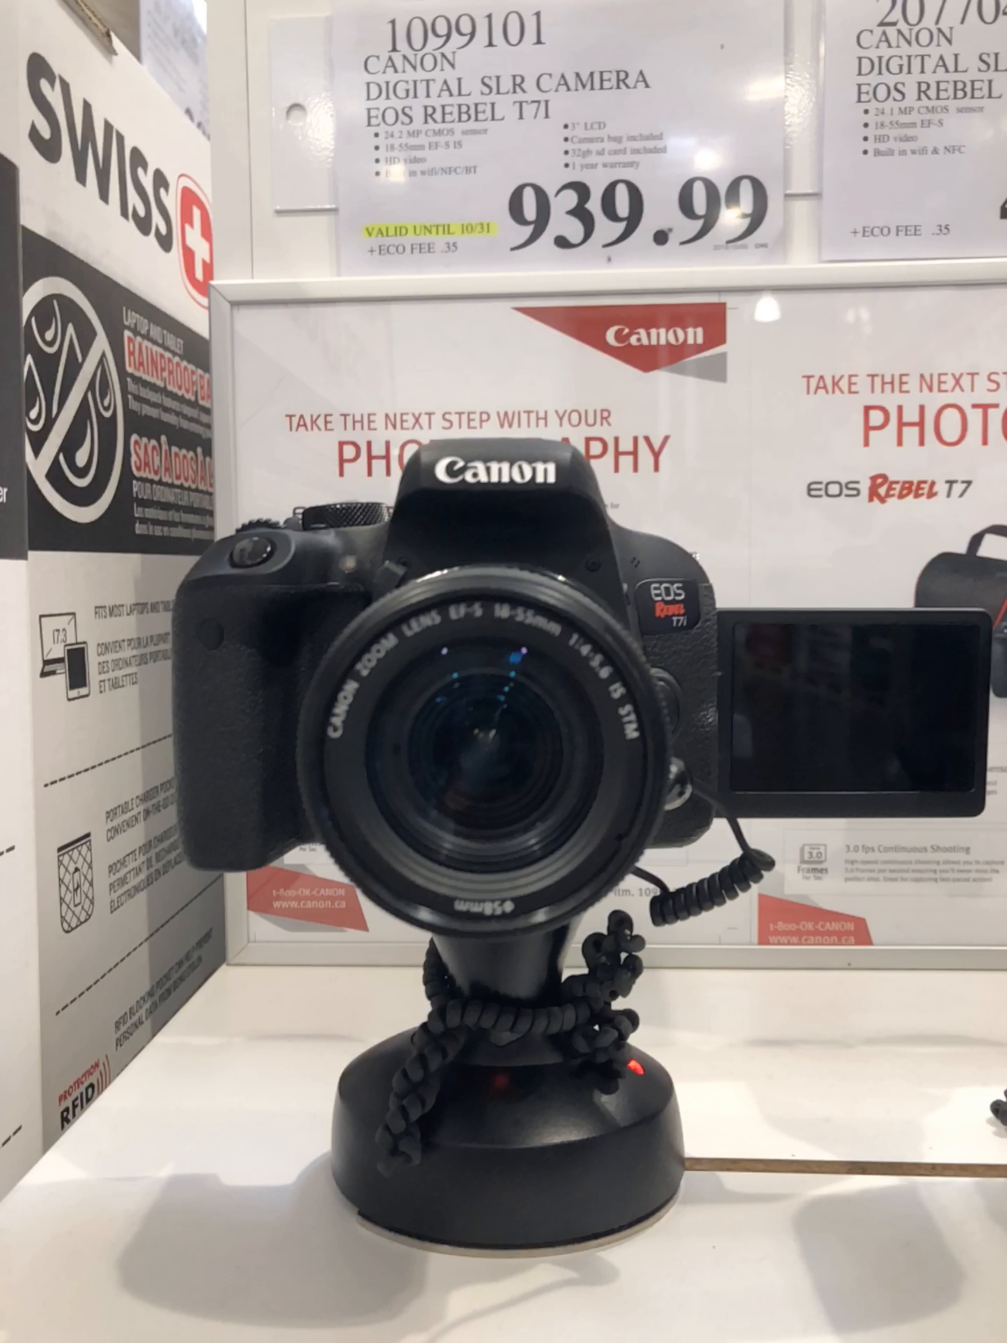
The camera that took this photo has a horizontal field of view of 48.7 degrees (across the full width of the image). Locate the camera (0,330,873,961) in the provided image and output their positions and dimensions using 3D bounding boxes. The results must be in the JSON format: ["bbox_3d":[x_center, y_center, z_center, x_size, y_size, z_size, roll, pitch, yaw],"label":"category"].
[{"bbox_3d":[-0.009,-0.009,0.253,0.140,0.100,0.150,0,4,2],"label":"camera"}]
